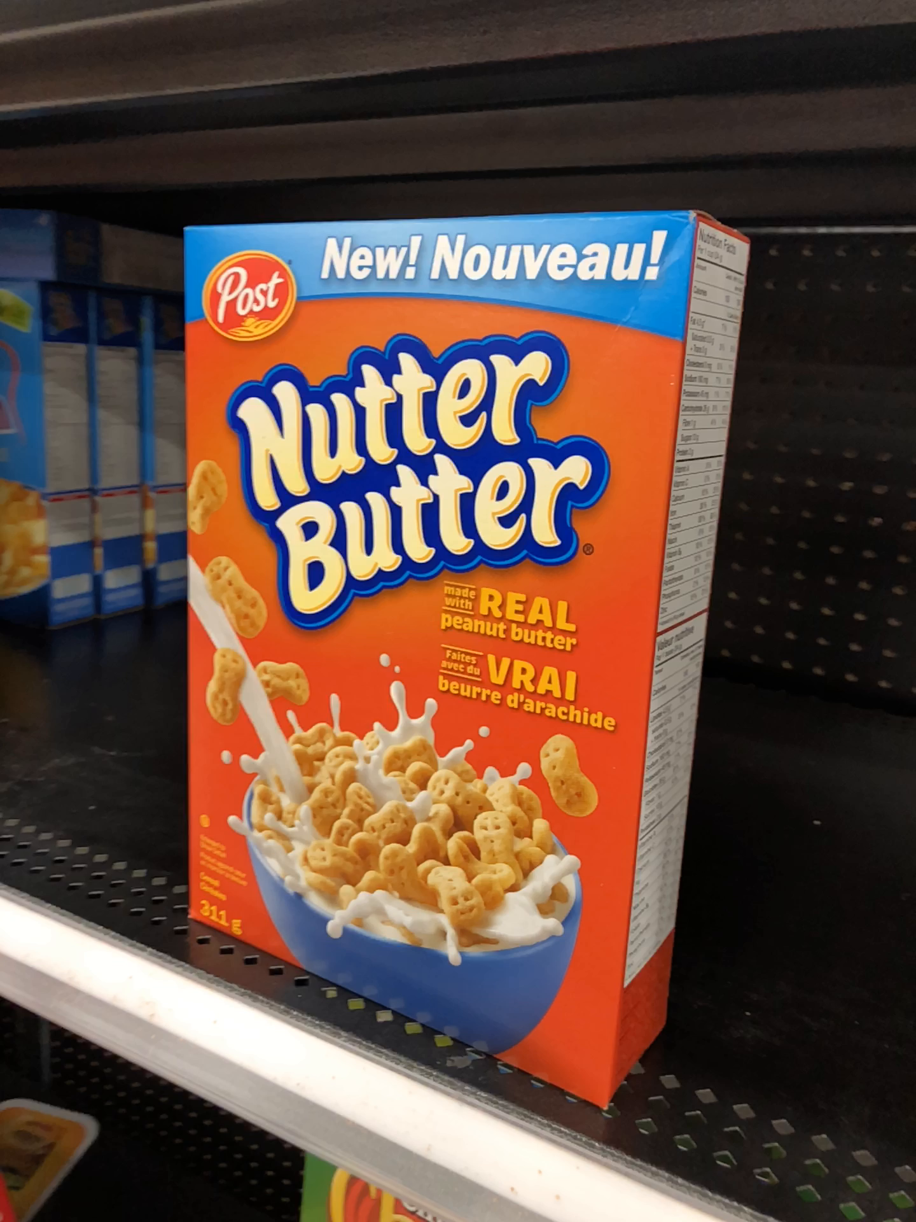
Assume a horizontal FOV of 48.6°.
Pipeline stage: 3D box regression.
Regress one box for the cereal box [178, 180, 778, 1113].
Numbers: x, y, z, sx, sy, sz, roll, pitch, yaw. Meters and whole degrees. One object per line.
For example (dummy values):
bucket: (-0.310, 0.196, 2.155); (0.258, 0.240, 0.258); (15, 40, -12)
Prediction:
cereal box: (-0.009, 0.002, 0.370); (0.200, 0.279, 0.060); (11, 14, 31)
